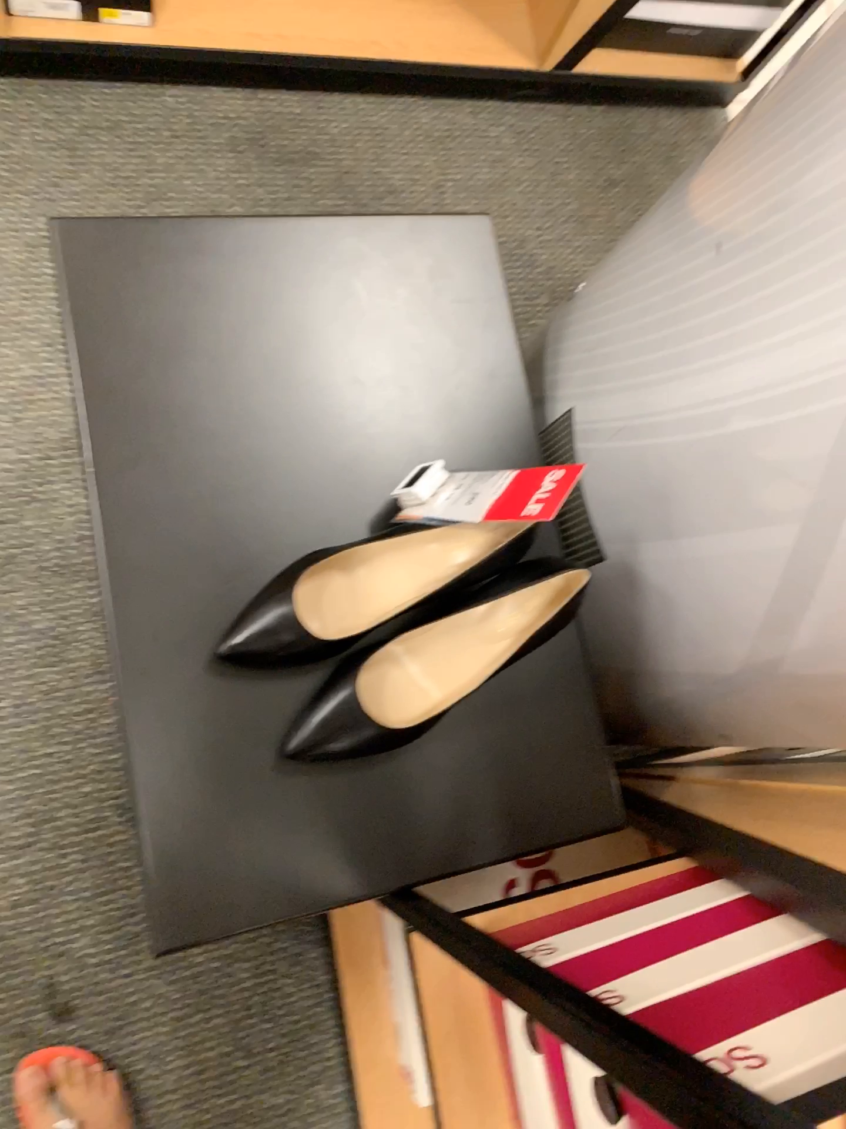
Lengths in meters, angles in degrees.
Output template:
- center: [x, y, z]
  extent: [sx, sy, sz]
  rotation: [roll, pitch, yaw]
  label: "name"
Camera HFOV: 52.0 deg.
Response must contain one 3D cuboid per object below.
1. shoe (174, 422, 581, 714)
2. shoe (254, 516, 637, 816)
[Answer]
- center: [-0.046, 0.010, 0.652]
  extent: [0.251, 0.190, 0.100]
  rotation: [-23, 87, -20]
  label: "shoe"
- center: [0.008, 0.082, 0.704]
  extent: [0.251, 0.190, 0.100]
  rotation: [-29, 89, -20]
  label: "shoe"
